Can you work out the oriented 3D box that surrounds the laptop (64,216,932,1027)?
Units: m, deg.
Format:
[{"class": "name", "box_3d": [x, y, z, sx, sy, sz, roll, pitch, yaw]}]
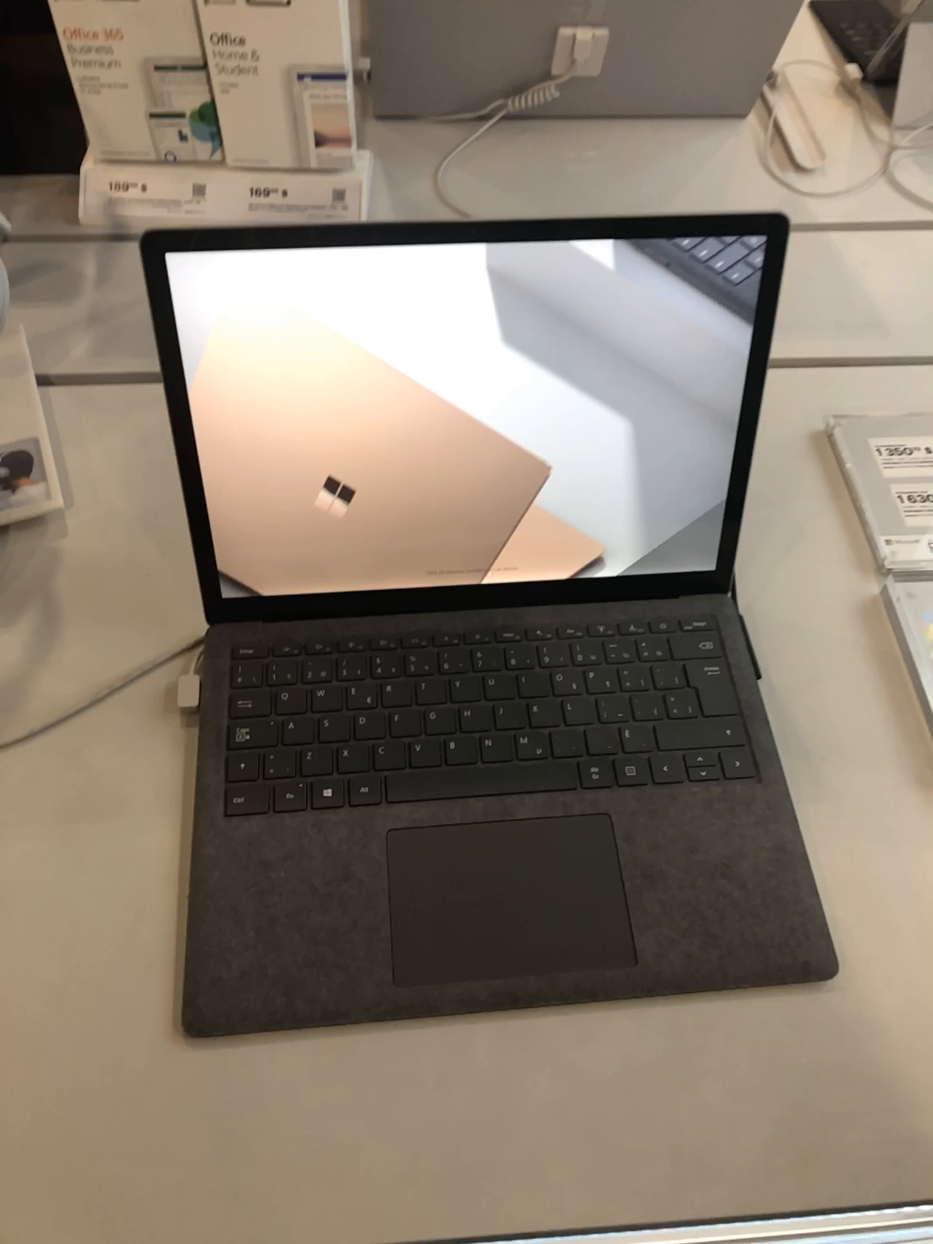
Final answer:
[{"class": "laptop", "box_3d": [0.013, -0.006, 0.474, 0.297, 0.197, 0.296, -3, 56, -5]}]
